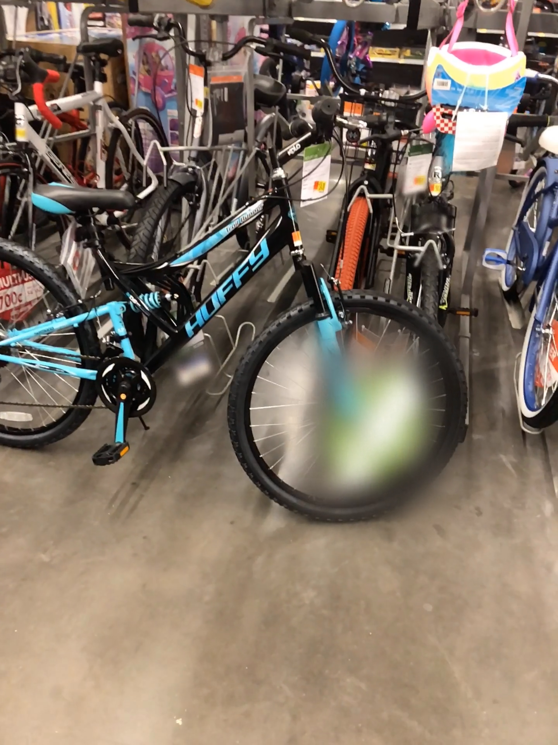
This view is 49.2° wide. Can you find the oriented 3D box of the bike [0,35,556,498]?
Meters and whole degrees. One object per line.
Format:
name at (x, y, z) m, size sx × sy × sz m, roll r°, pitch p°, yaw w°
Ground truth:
bike at (-0.242, -0.323, 1.811) m, size 1.705 × 1.120 × 0.547 m, roll 6°, pitch 33°, yaw 8°
